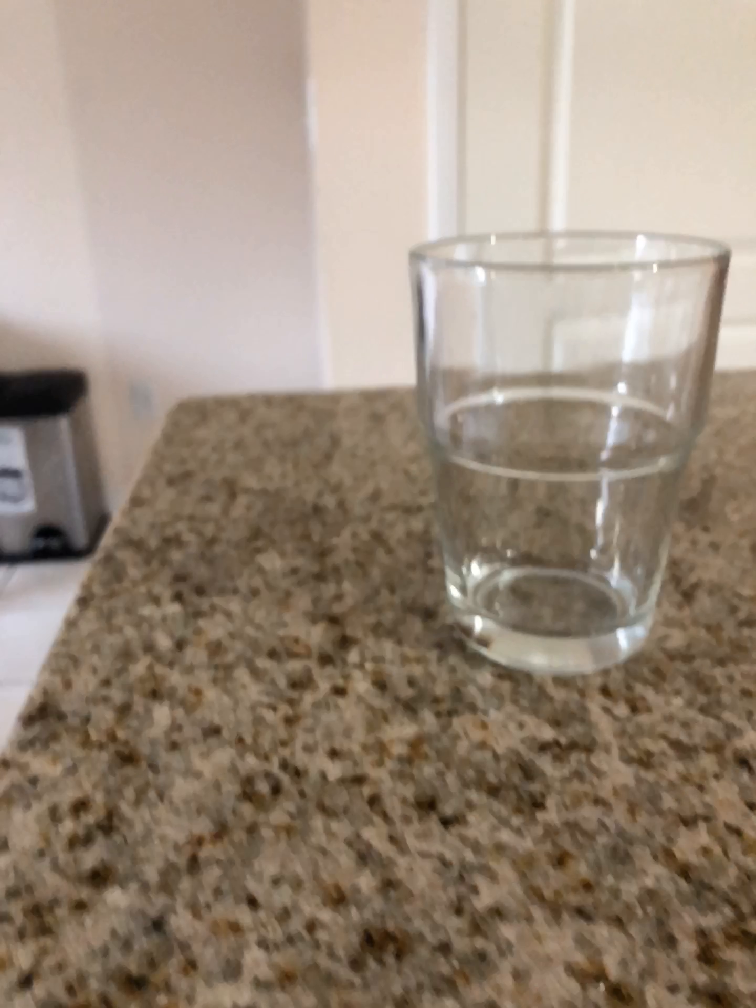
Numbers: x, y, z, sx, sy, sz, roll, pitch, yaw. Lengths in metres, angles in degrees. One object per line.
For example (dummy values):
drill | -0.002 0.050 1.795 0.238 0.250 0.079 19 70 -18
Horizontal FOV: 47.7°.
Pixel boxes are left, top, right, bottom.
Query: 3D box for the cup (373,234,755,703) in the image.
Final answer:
cup | 0.049 -0.017 0.232 0.070 0.100 0.070 -1 21 1
